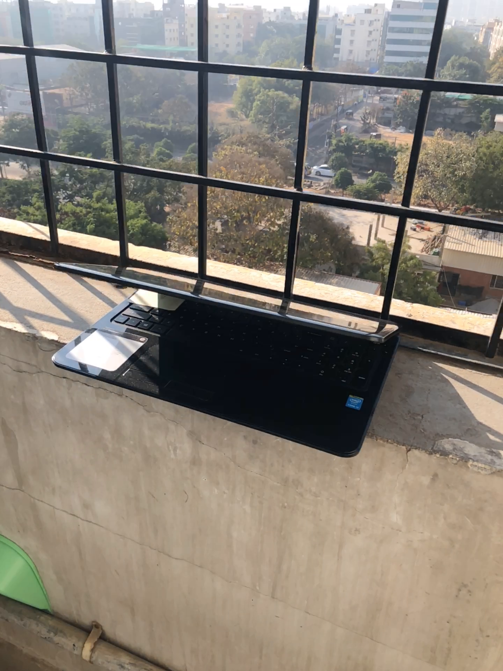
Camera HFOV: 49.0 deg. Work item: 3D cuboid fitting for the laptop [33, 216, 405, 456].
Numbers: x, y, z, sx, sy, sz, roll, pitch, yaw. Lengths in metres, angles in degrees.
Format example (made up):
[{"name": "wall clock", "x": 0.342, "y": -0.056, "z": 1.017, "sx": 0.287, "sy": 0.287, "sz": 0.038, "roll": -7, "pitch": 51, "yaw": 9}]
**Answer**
[{"name": "laptop", "x": -0.025, "y": -0.027, "z": 0.663, "sx": 0.363, "sy": 0.113, "sz": 0.245, "roll": 14, "pitch": 31, "yaw": 18}]
